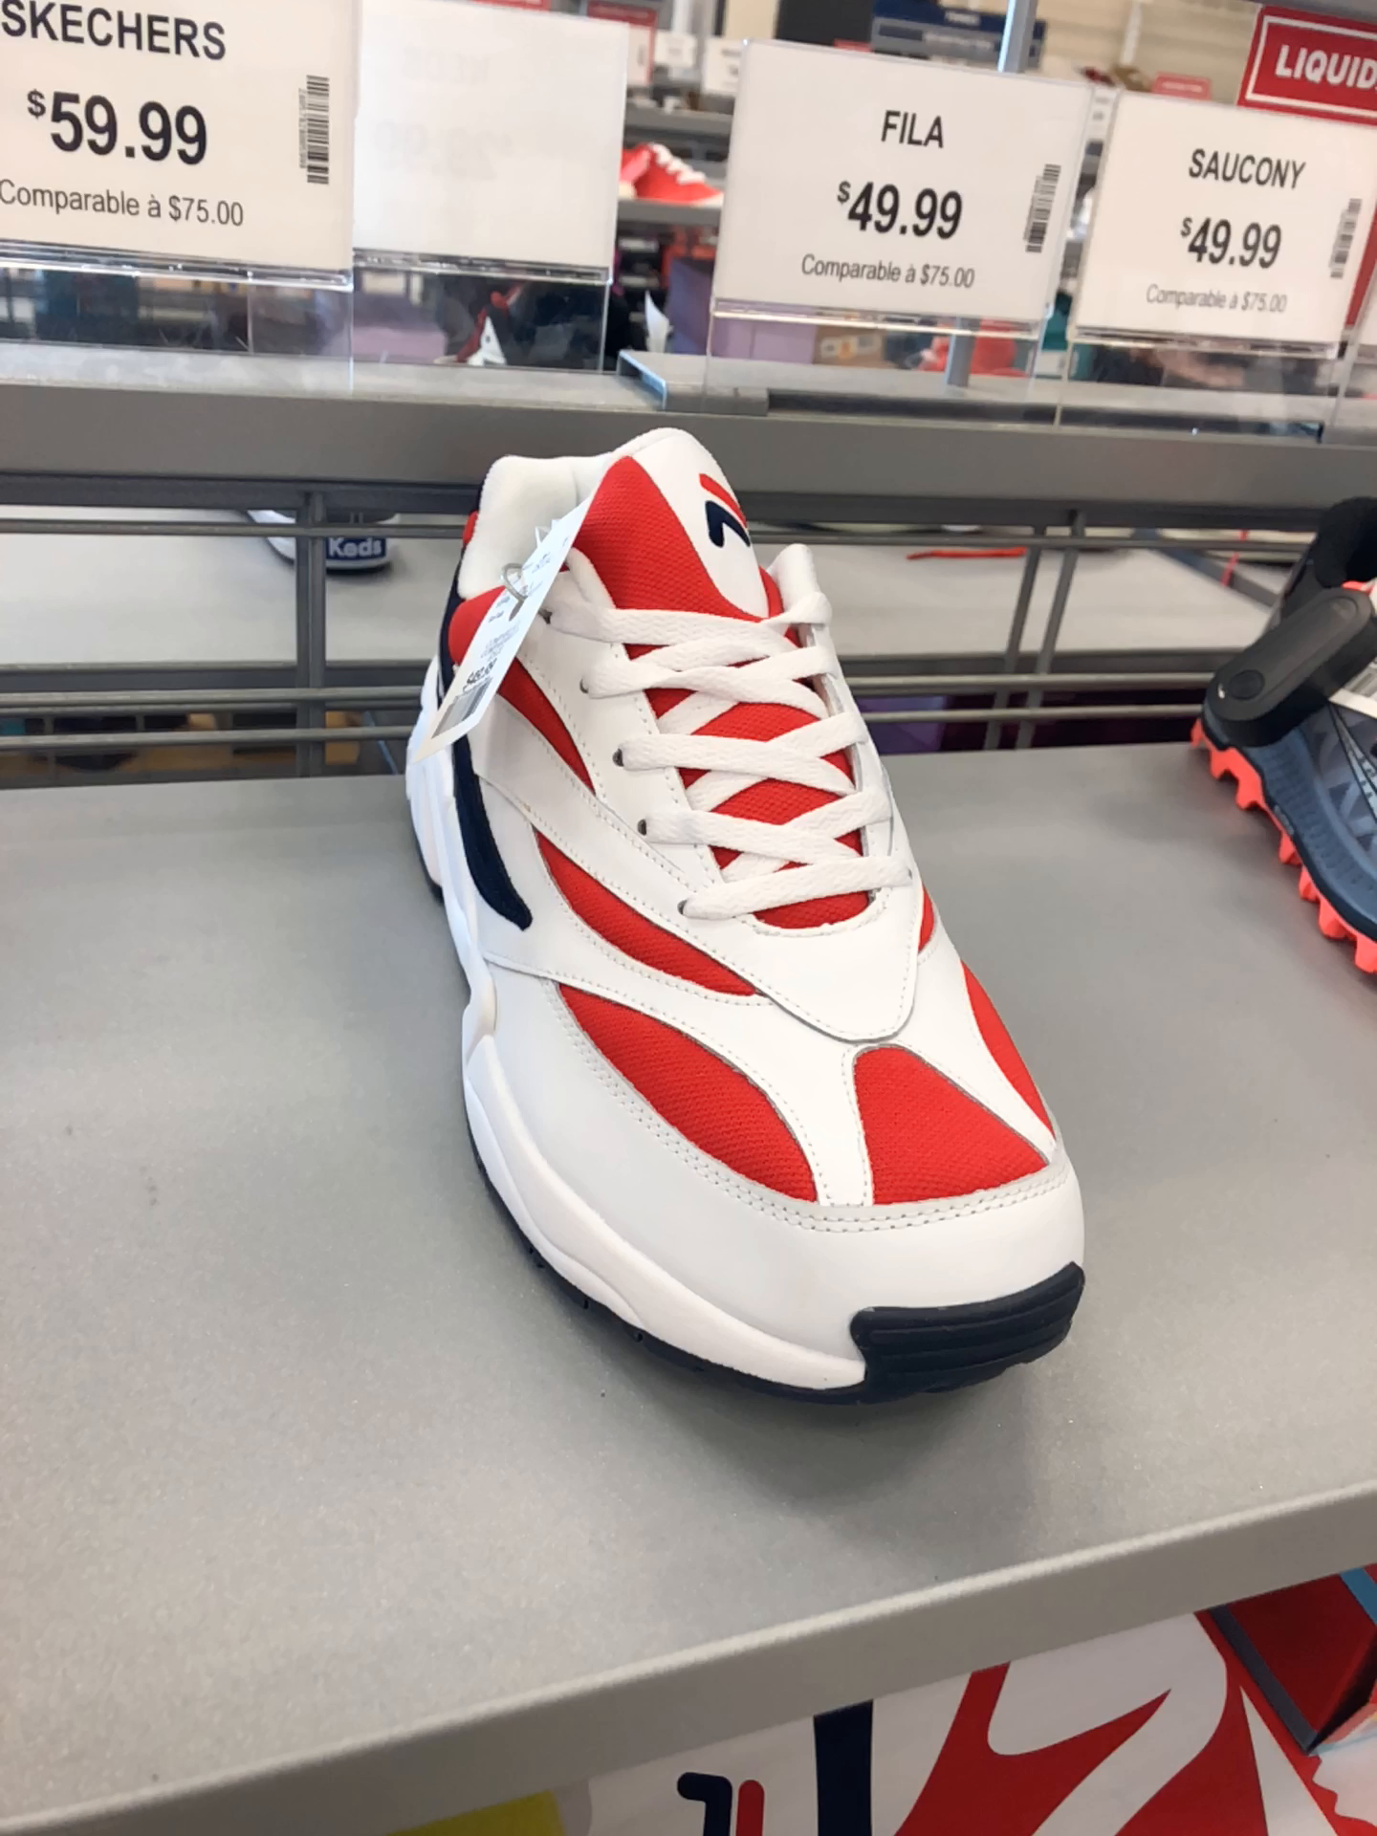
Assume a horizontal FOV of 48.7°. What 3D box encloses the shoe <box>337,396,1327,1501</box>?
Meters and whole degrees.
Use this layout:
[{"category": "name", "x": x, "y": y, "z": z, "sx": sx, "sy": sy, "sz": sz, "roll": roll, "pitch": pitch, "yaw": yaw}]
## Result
[{"category": "shoe", "x": -0.003, "y": -0.025, "z": 0.371, "sx": 0.120, "sy": 0.129, "sz": 0.272, "roll": -4, "pitch": 33, "yaw": -21}]
